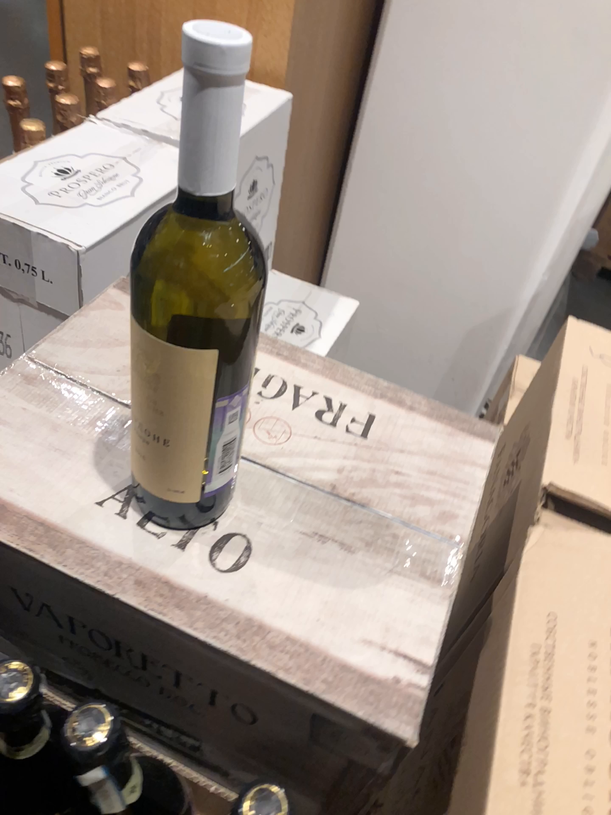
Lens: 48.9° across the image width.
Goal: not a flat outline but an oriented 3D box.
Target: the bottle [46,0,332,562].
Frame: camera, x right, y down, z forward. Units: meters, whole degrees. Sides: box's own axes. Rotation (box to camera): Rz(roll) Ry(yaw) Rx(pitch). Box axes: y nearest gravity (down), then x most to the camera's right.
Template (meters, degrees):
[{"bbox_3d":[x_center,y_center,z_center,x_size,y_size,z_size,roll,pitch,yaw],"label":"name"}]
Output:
[{"bbox_3d":[-0.074,-0.049,0.377,0.080,0.298,0.090,-25,54,-34],"label":"bottle"}]
